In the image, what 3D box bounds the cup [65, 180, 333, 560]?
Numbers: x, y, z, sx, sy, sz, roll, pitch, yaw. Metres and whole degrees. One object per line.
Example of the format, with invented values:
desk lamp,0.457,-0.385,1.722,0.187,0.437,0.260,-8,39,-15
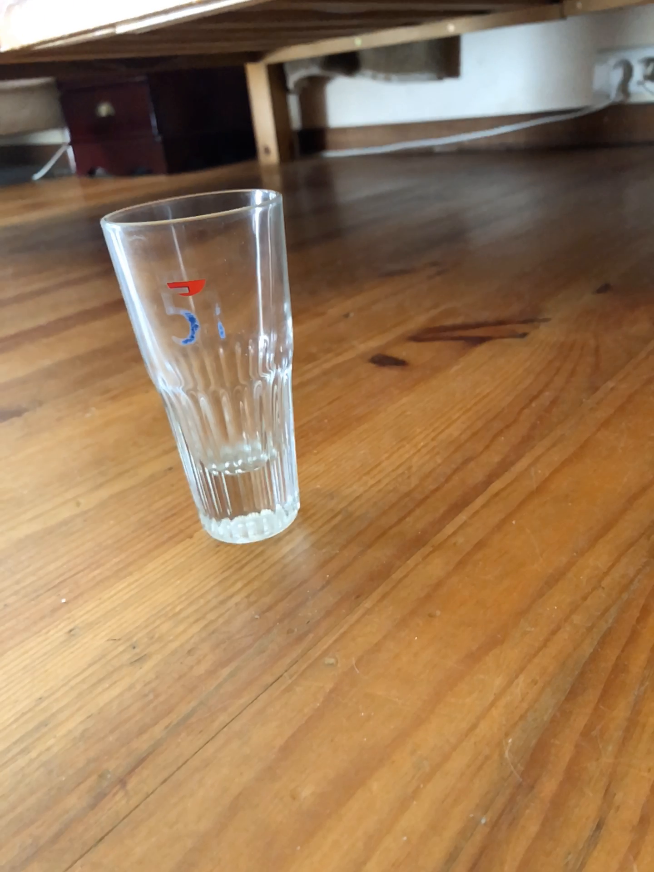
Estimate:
cup,-0.037,-0.025,0.267,0.064,0.117,0.069,-6,25,3
